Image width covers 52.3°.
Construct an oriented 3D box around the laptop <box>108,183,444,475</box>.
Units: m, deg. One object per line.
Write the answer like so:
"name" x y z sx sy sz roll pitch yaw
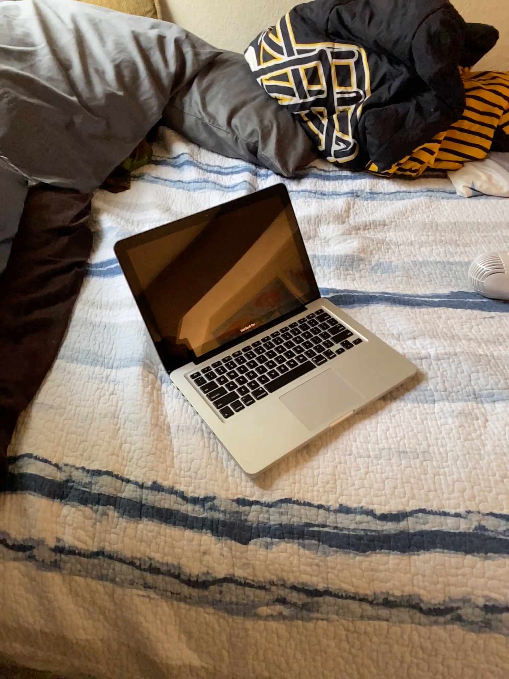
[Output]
"laptop" 0.021 -0.047 0.779 0.320 0.165 0.346 -27 50 -25
